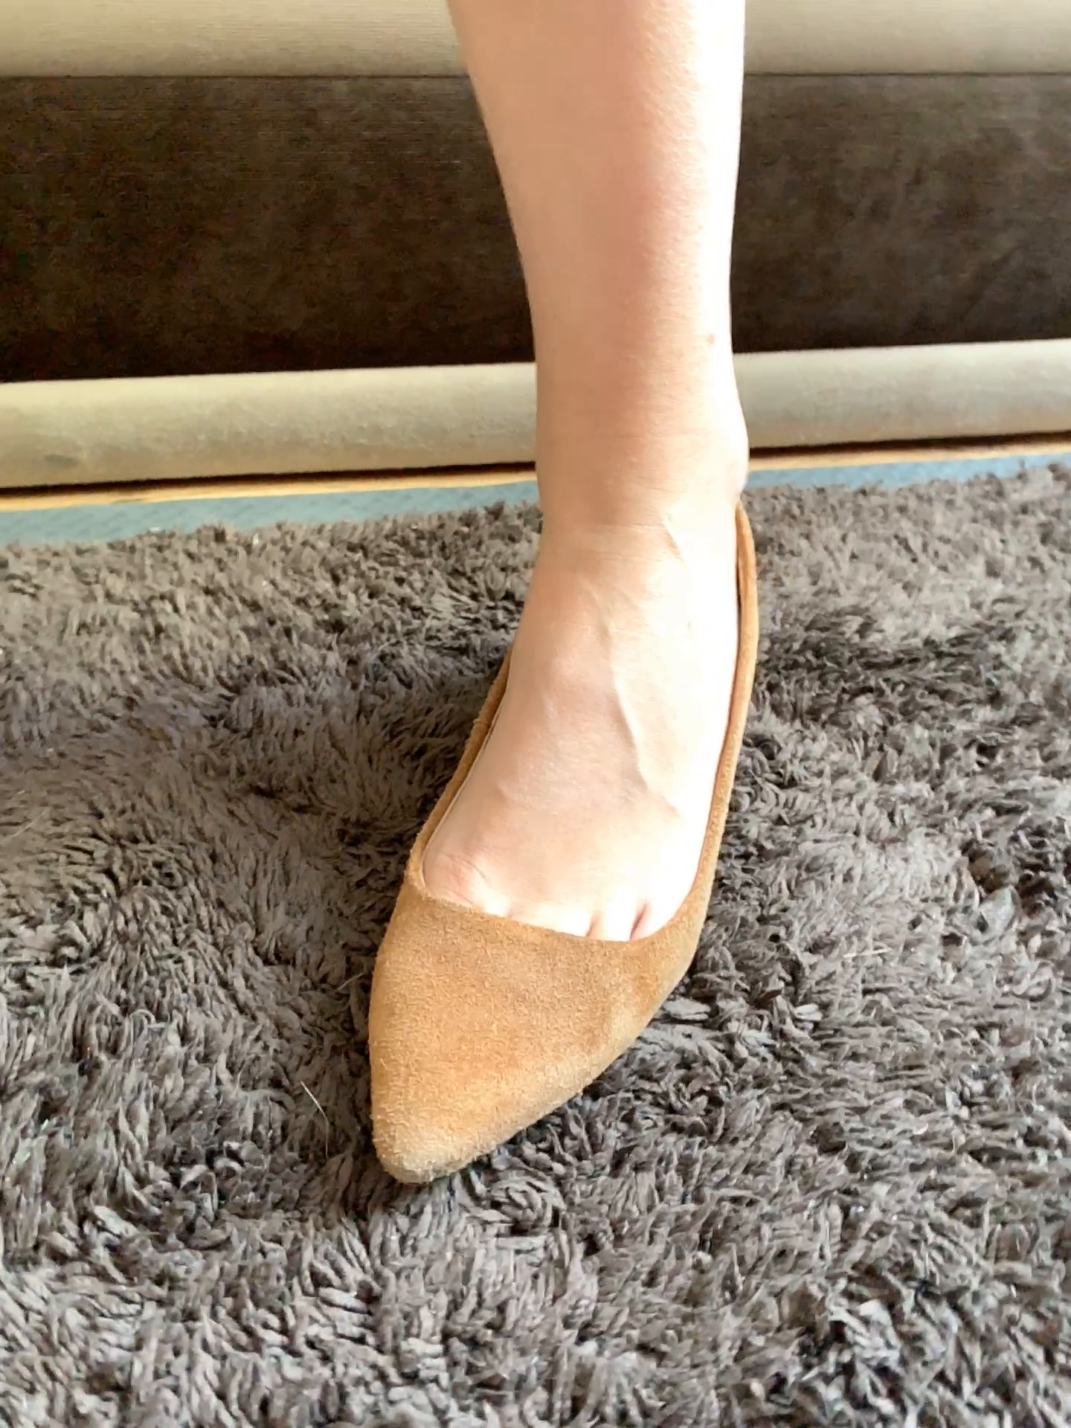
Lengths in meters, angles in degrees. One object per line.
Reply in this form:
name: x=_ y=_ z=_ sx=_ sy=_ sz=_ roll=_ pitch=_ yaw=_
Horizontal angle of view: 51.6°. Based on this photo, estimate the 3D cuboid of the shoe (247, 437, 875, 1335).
shoe: x=0.030 y=0.014 z=0.307 sx=0.090 sy=0.080 sz=0.251 roll=12 pitch=38 yaw=14
